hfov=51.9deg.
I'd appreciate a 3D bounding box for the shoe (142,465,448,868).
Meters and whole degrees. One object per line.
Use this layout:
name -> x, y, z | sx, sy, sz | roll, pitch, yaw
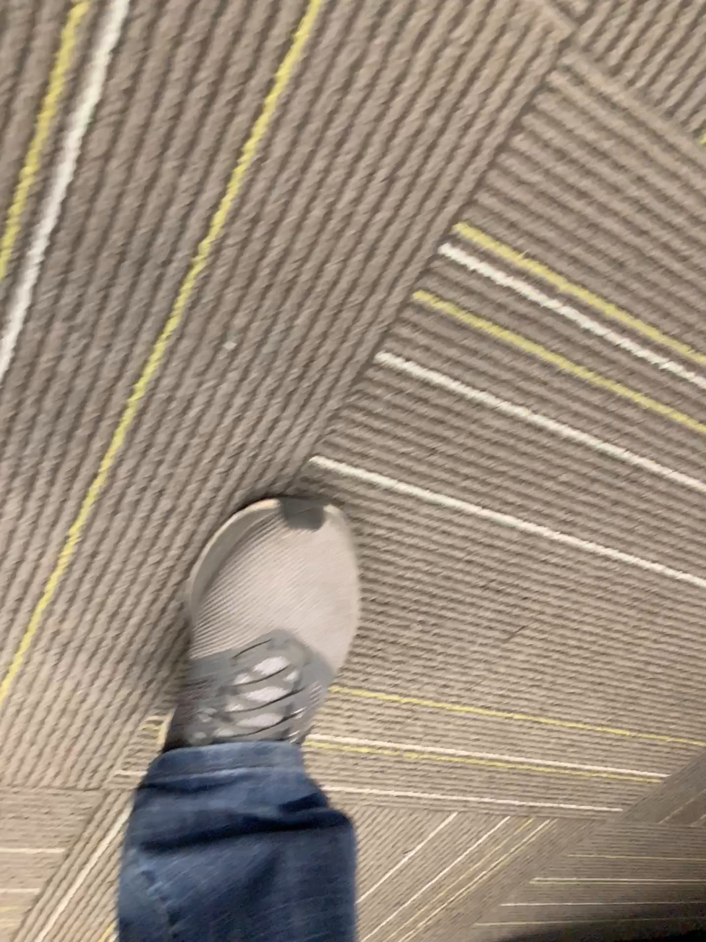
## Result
shoe -> -0.060, 0.148, 0.495 | 0.128, 0.092, 0.301 | 6, 127, -20
